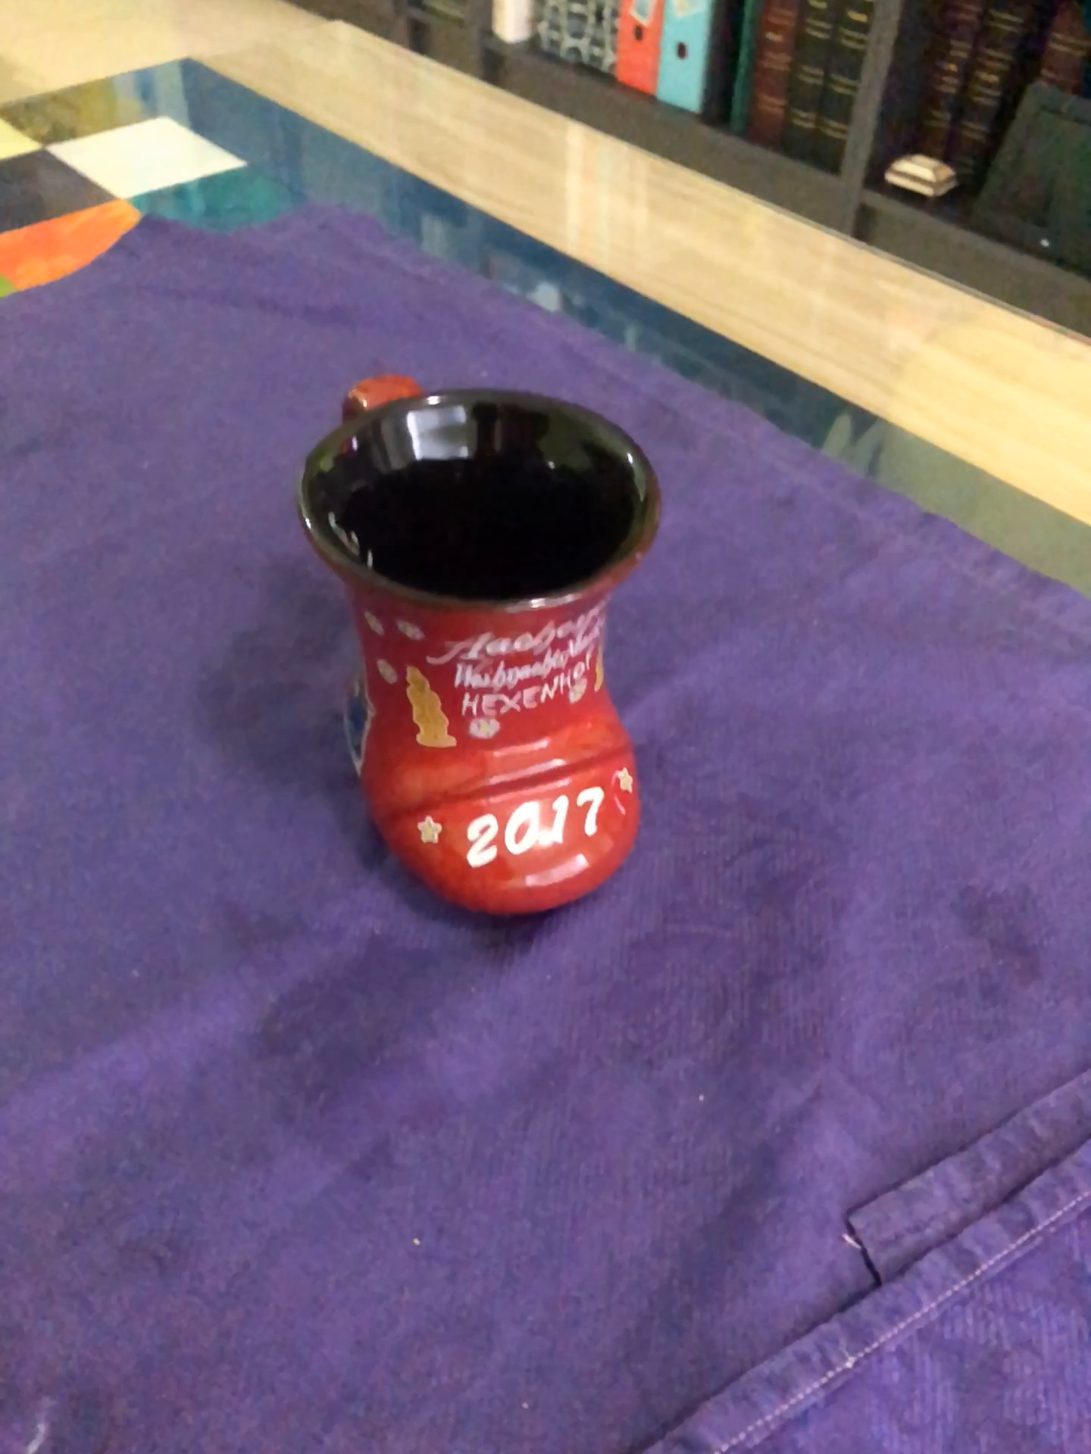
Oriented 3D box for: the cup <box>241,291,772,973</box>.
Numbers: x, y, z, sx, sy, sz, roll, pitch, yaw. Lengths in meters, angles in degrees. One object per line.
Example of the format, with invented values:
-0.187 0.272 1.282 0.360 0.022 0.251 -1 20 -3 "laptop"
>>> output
-0.015 -0.027 0.284 0.070 0.090 0.120 -16 49 -17 "cup"
